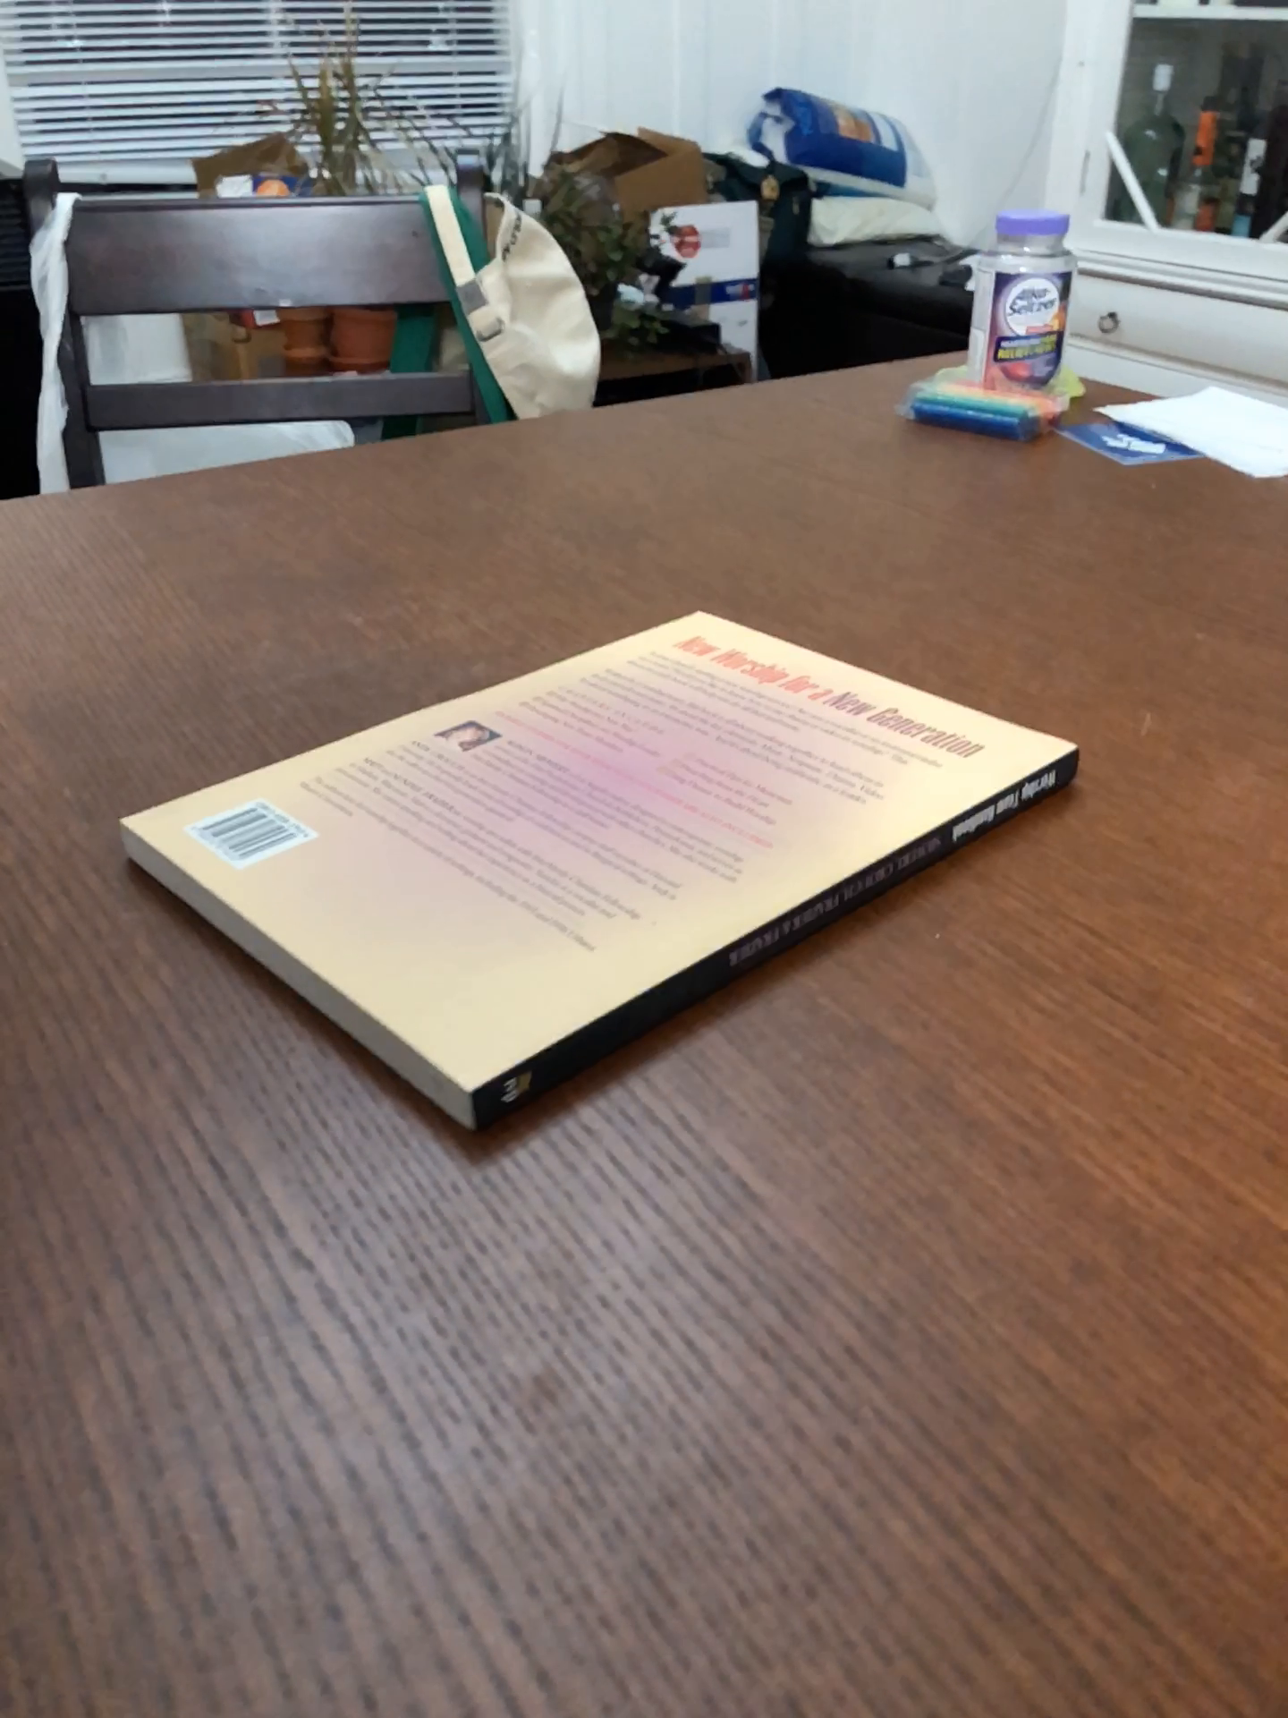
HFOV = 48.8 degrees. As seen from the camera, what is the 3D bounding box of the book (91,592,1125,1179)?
[{"bbox_3d":[-0.004,-0.019,0.455,0.271,0.020,0.190,-26,39,-36],"label":"book"}]
